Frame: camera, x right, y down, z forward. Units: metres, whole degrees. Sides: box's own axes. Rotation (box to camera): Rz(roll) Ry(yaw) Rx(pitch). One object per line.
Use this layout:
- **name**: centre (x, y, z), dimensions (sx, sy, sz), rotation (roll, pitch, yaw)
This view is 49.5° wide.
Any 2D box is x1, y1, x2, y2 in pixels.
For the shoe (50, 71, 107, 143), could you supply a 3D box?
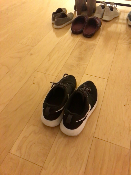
- **shoe**: centre (0.063, 0.059, 0.565), dimensions (0.120, 0.070, 0.272), rotation (20, 49, 18)

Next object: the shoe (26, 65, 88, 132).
- **shoe**: centre (-0.021, 0.029, 0.590), dimensions (0.130, 0.070, 0.272), rotation (20, 49, 18)
